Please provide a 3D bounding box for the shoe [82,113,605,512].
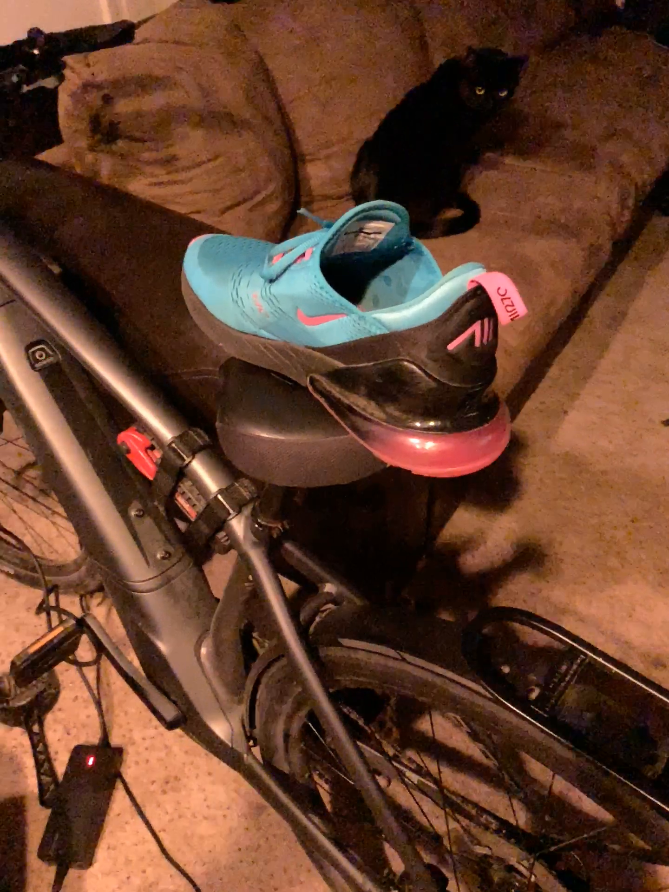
[{"bbox_3d":[-0.005,-0.117,0.545,0.330,0.130,0.150,29,53,28],"label":"shoe"}]
